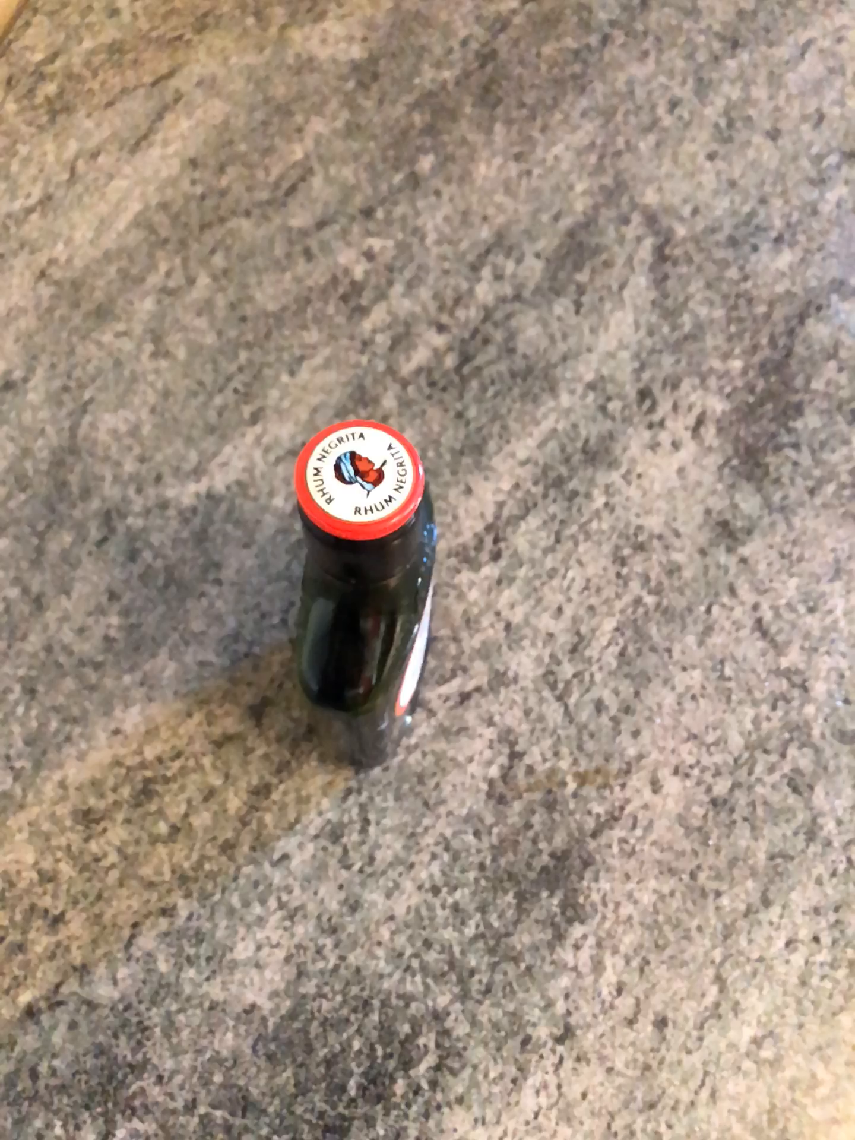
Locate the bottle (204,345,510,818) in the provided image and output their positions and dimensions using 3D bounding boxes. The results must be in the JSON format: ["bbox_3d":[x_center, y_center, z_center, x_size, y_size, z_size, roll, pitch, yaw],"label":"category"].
[{"bbox_3d":[-0.015,0.017,0.288,0.050,0.160,0.080,12,68,4],"label":"bottle"}]
